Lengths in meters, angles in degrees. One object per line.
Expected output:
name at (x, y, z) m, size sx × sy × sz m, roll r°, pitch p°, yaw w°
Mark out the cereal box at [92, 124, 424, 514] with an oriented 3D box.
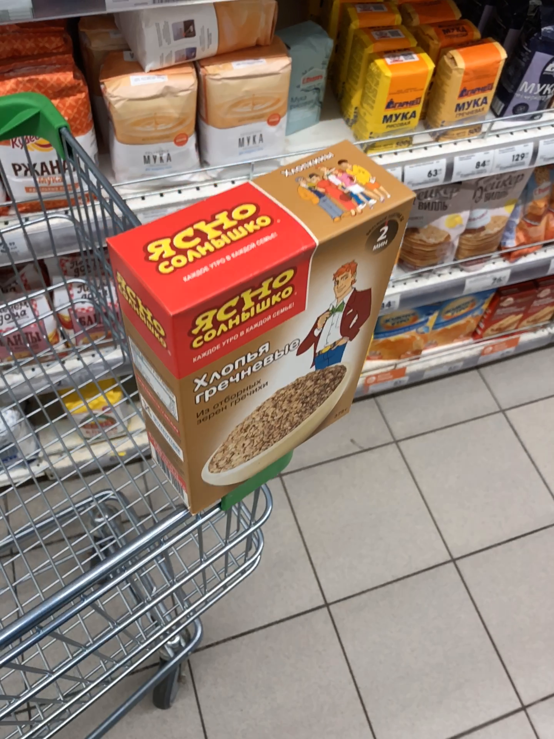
cereal box at (-0.011, -0.015, 0.338) m, size 0.130 × 0.189 × 0.060 m, roll -29°, pitch 62°, yaw -22°
